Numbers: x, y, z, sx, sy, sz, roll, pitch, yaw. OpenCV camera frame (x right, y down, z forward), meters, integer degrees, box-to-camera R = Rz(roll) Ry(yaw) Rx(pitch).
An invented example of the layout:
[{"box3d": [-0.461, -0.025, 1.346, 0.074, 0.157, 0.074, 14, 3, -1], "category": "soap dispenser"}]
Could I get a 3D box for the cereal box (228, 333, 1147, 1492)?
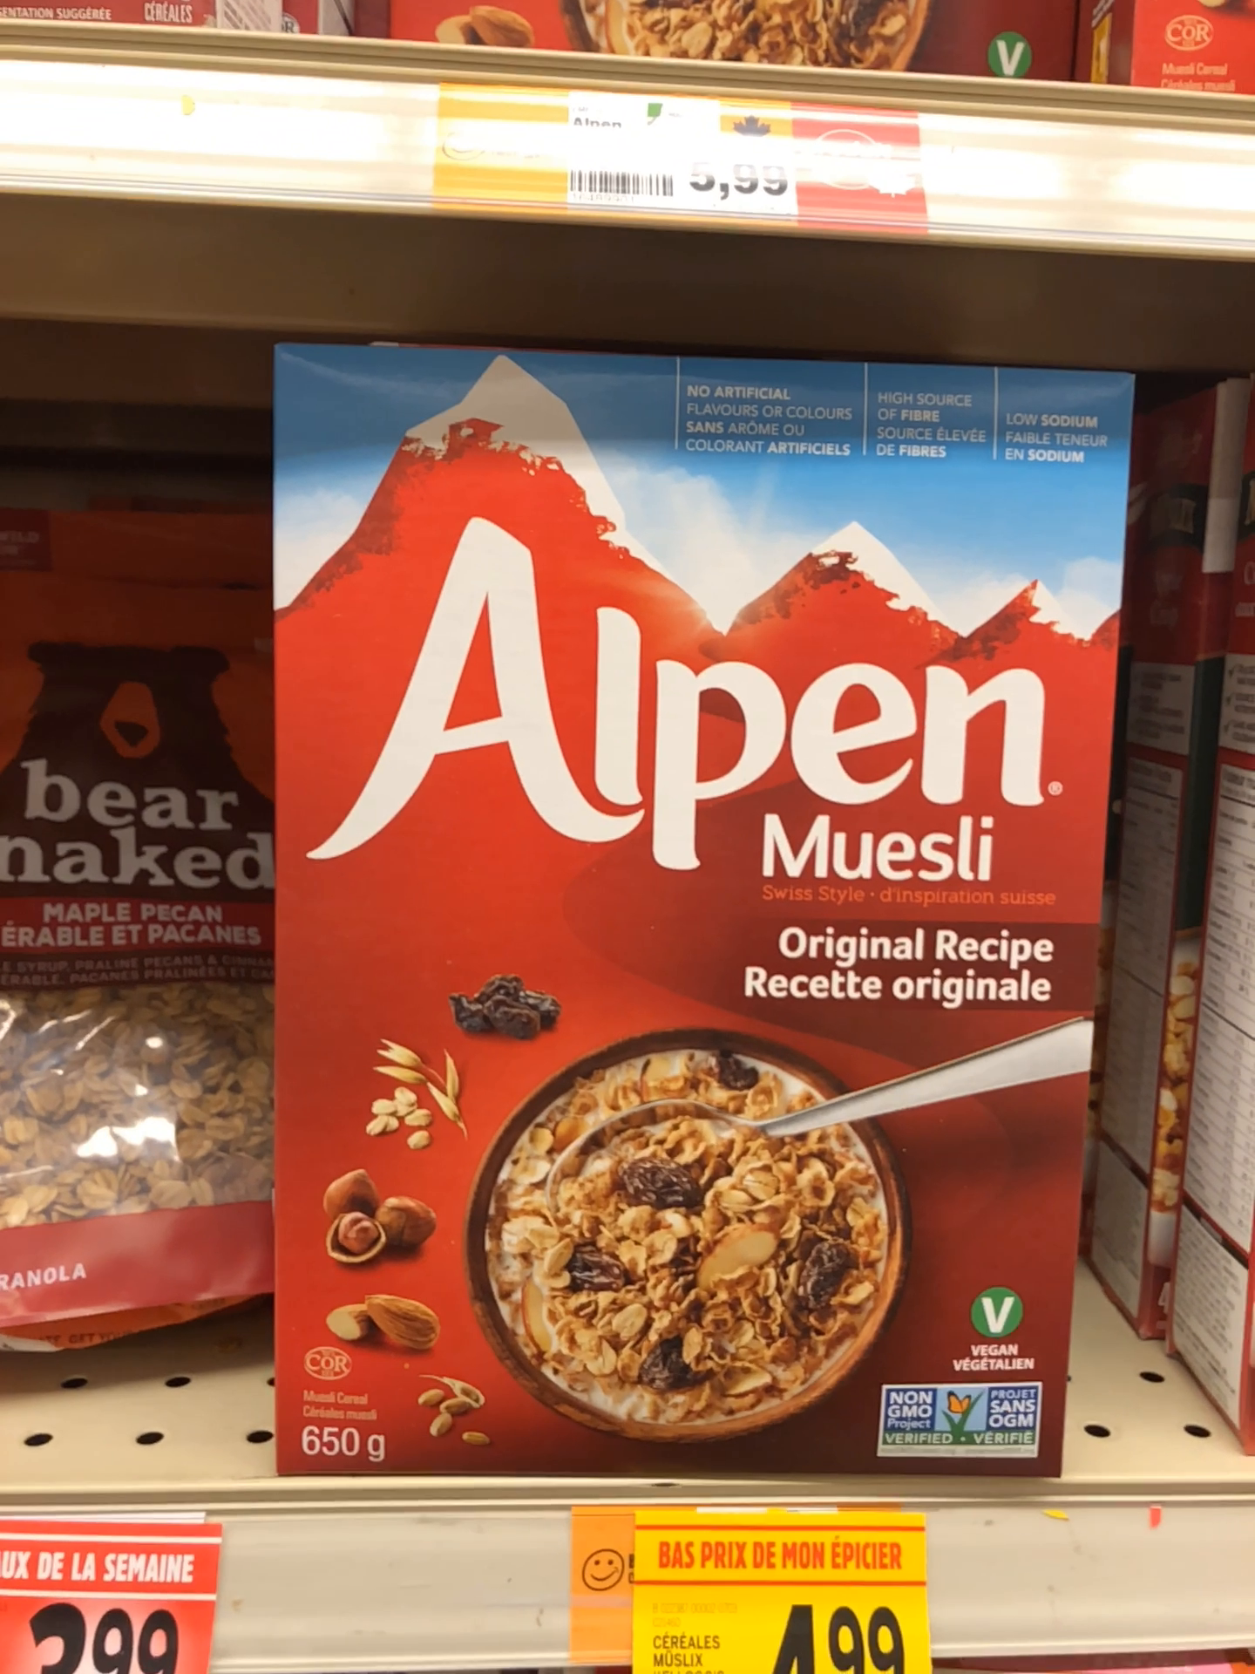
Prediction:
[{"box3d": [0.008, 0.019, 0.319, 0.180, 0.239, 0.060, 1, 8, -4], "category": "cereal box"}]
